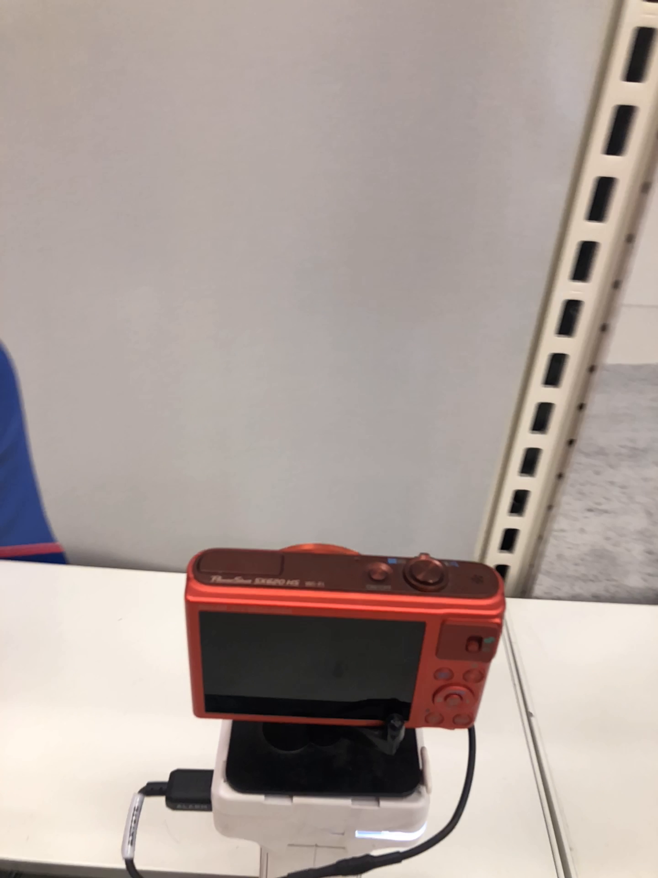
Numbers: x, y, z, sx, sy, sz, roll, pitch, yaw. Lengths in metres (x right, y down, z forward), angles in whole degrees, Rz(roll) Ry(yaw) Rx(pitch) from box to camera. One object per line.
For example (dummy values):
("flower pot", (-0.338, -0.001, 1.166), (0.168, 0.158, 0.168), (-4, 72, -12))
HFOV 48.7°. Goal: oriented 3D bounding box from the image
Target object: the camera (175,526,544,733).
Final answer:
("camera", (0.007, 0.065, 0.245), (0.110, 0.060, 0.030), (3, 33, -3))
